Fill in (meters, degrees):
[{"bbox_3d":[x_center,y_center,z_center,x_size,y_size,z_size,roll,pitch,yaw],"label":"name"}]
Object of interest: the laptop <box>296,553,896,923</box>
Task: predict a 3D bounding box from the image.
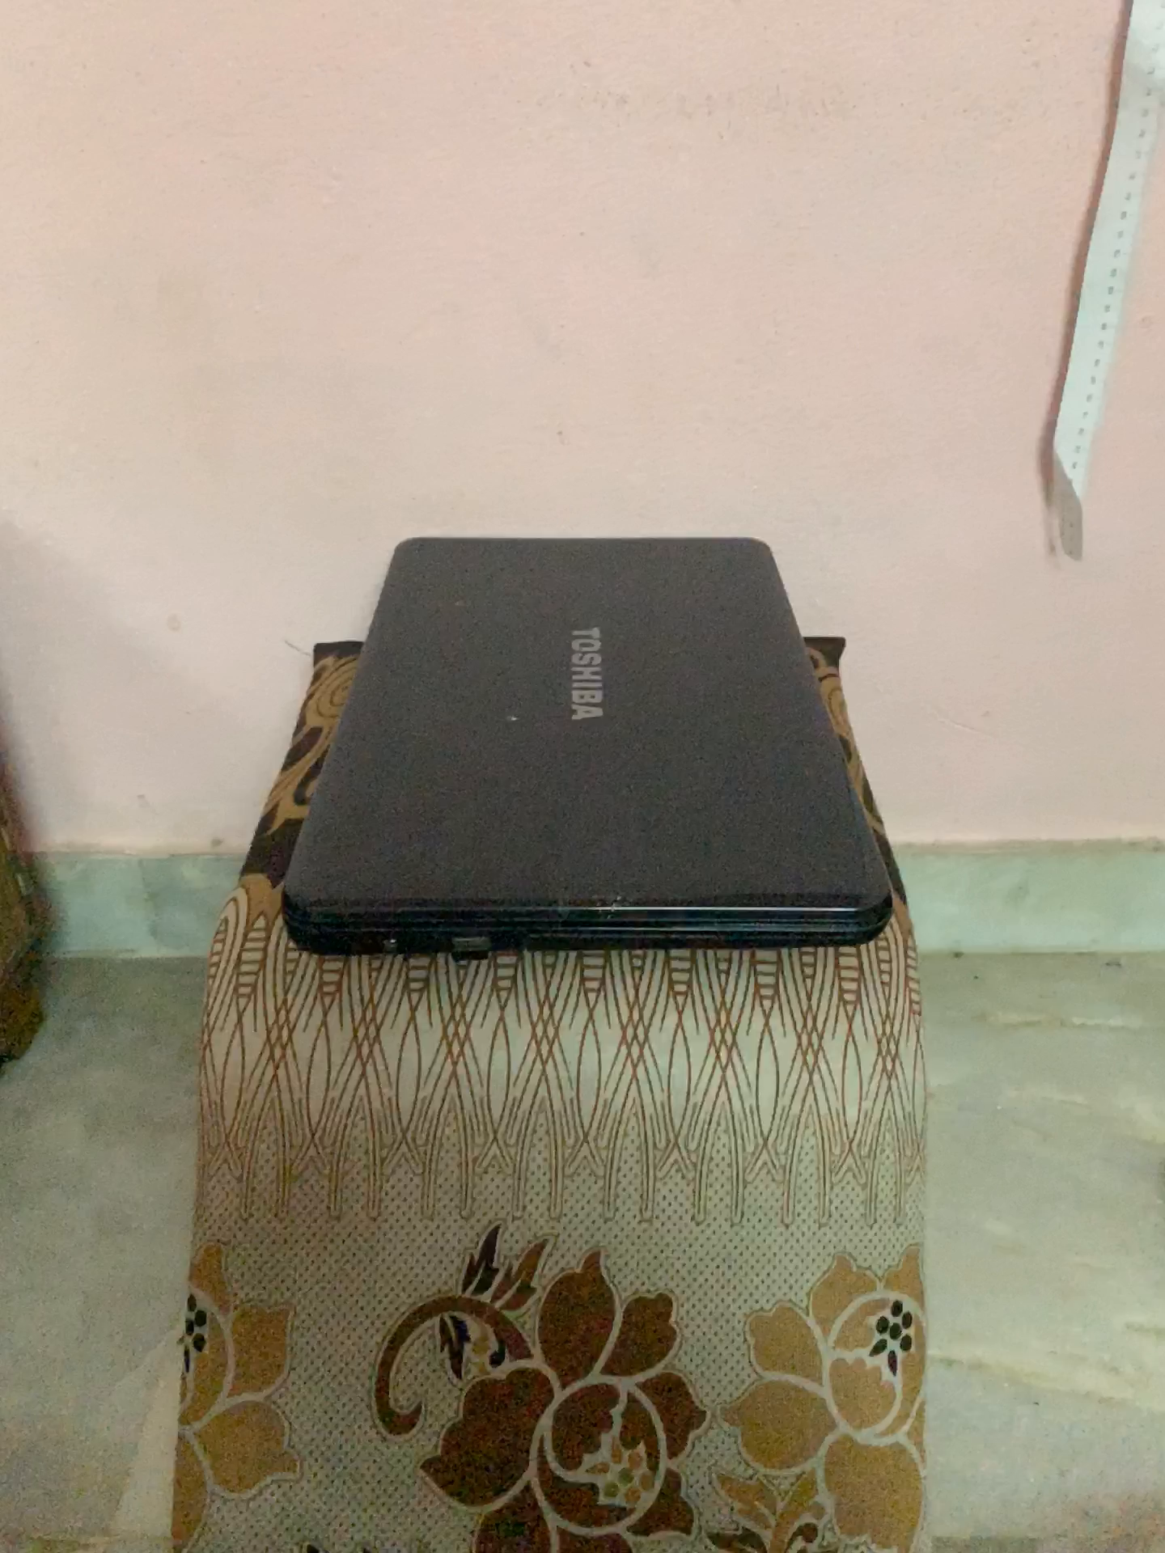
[{"bbox_3d":[0.001,-0.044,0.601,0.222,0.001,0.372,-1,32,0],"label":"laptop"}]
